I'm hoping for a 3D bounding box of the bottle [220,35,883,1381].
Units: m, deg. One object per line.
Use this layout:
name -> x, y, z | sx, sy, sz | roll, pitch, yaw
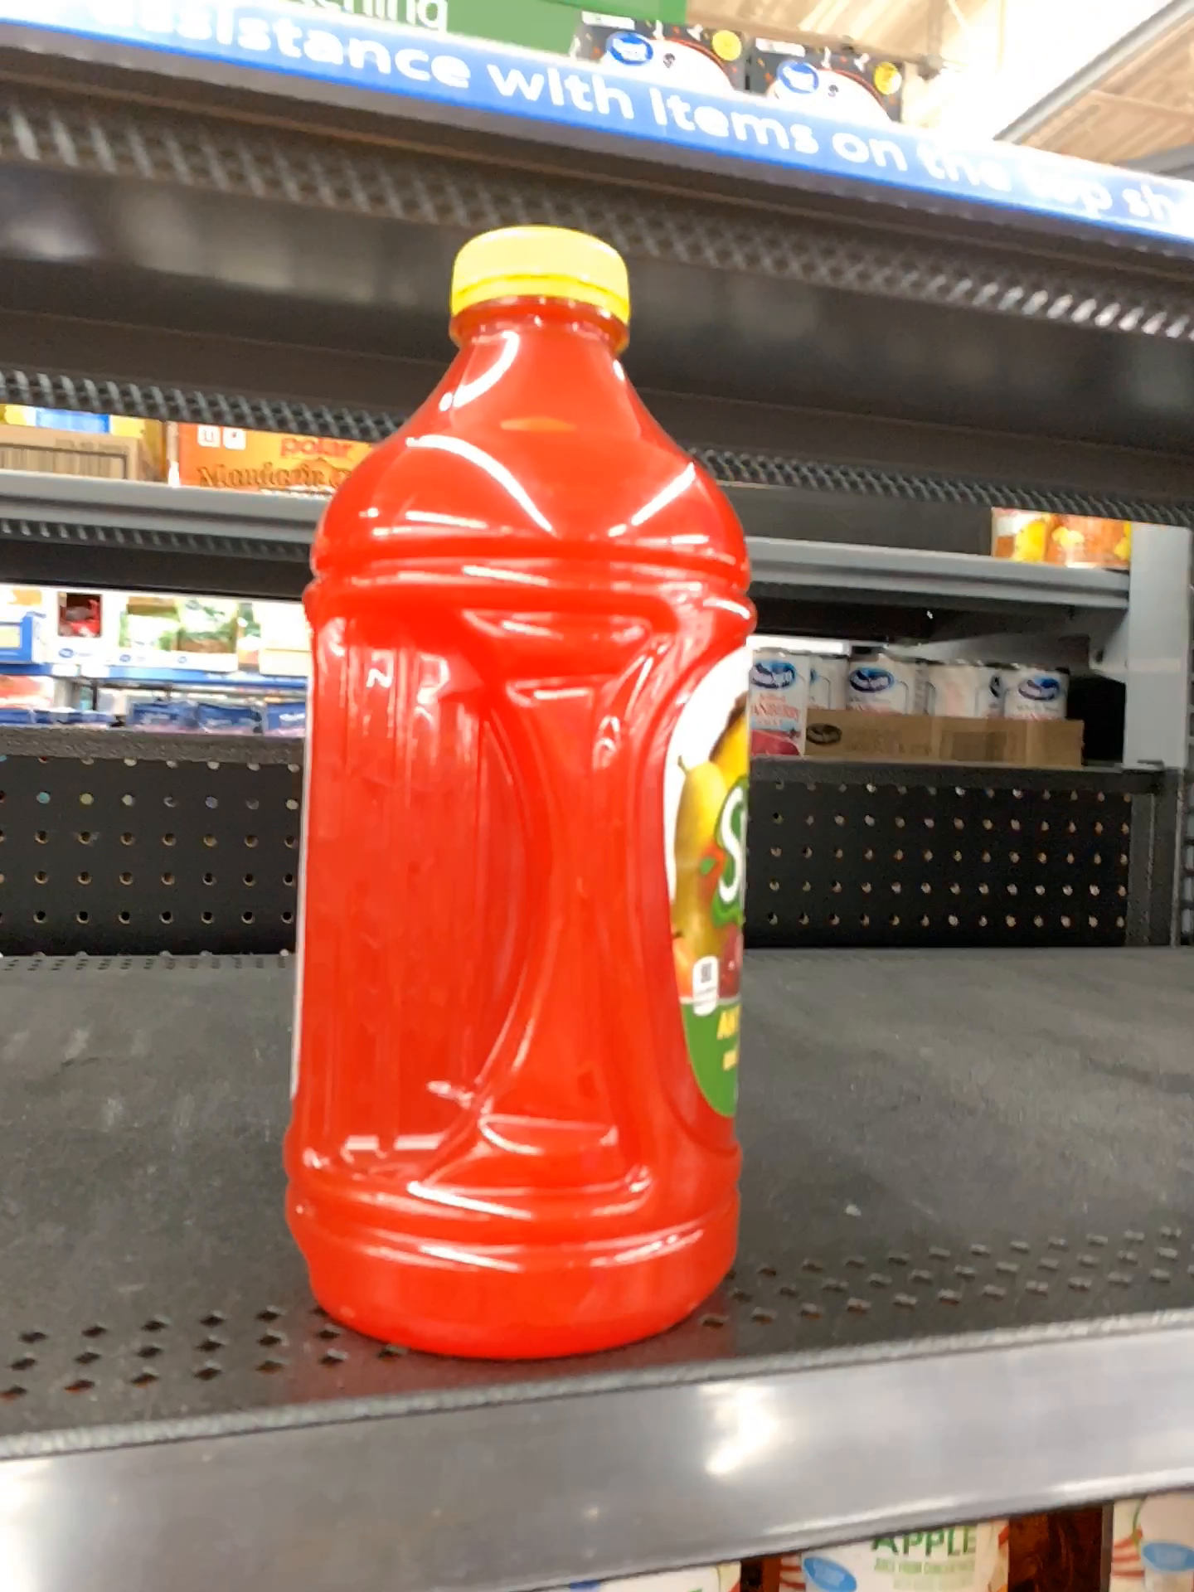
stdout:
bottle -> -0.011, -0.018, 0.315 | 0.122, 0.265, 0.140 | 2, 2, -1
